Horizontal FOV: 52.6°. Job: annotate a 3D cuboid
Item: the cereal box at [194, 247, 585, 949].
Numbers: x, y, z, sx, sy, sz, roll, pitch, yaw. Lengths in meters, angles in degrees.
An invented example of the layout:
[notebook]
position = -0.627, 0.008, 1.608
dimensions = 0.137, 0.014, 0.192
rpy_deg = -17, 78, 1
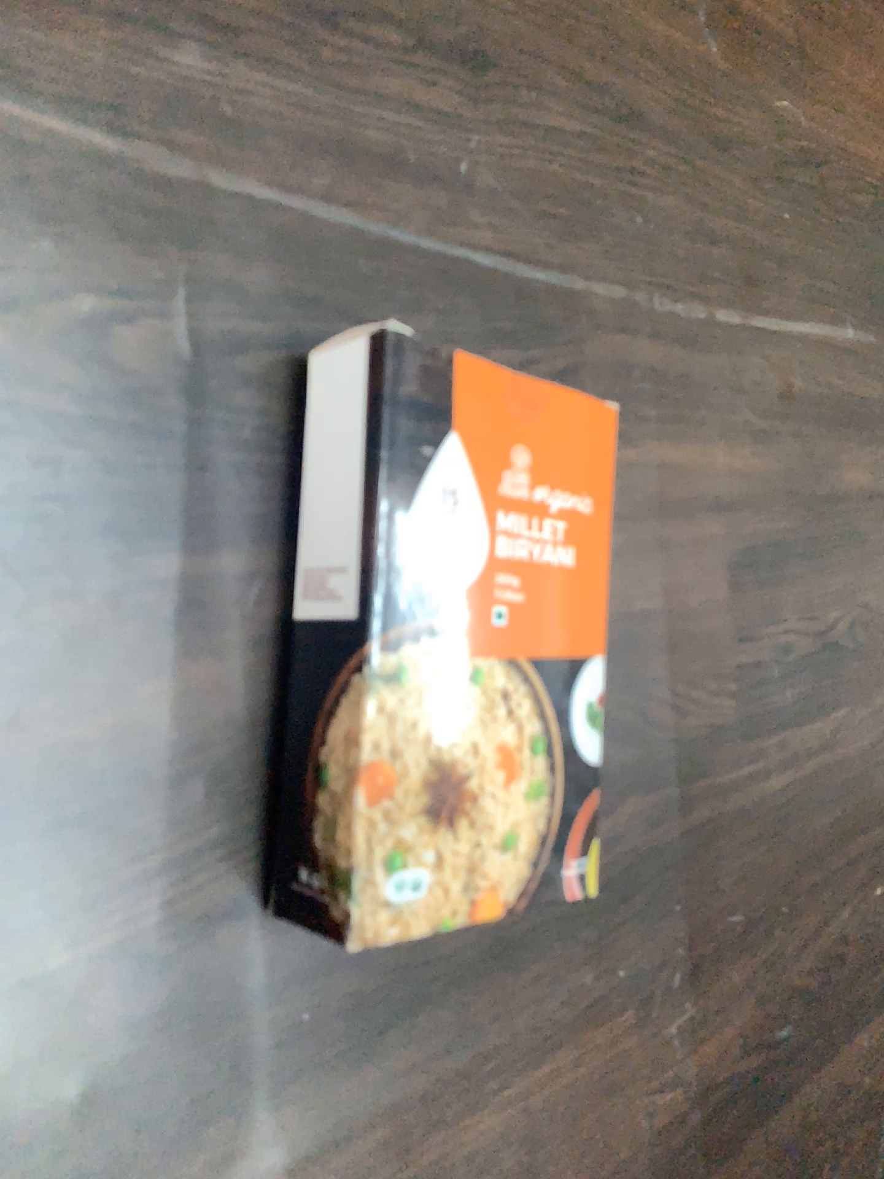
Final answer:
[cereal box]
position = -0.011, 0.003, 0.273
dimensions = 0.111, 0.050, 0.170
rpy_deg = 2, 90, -46
